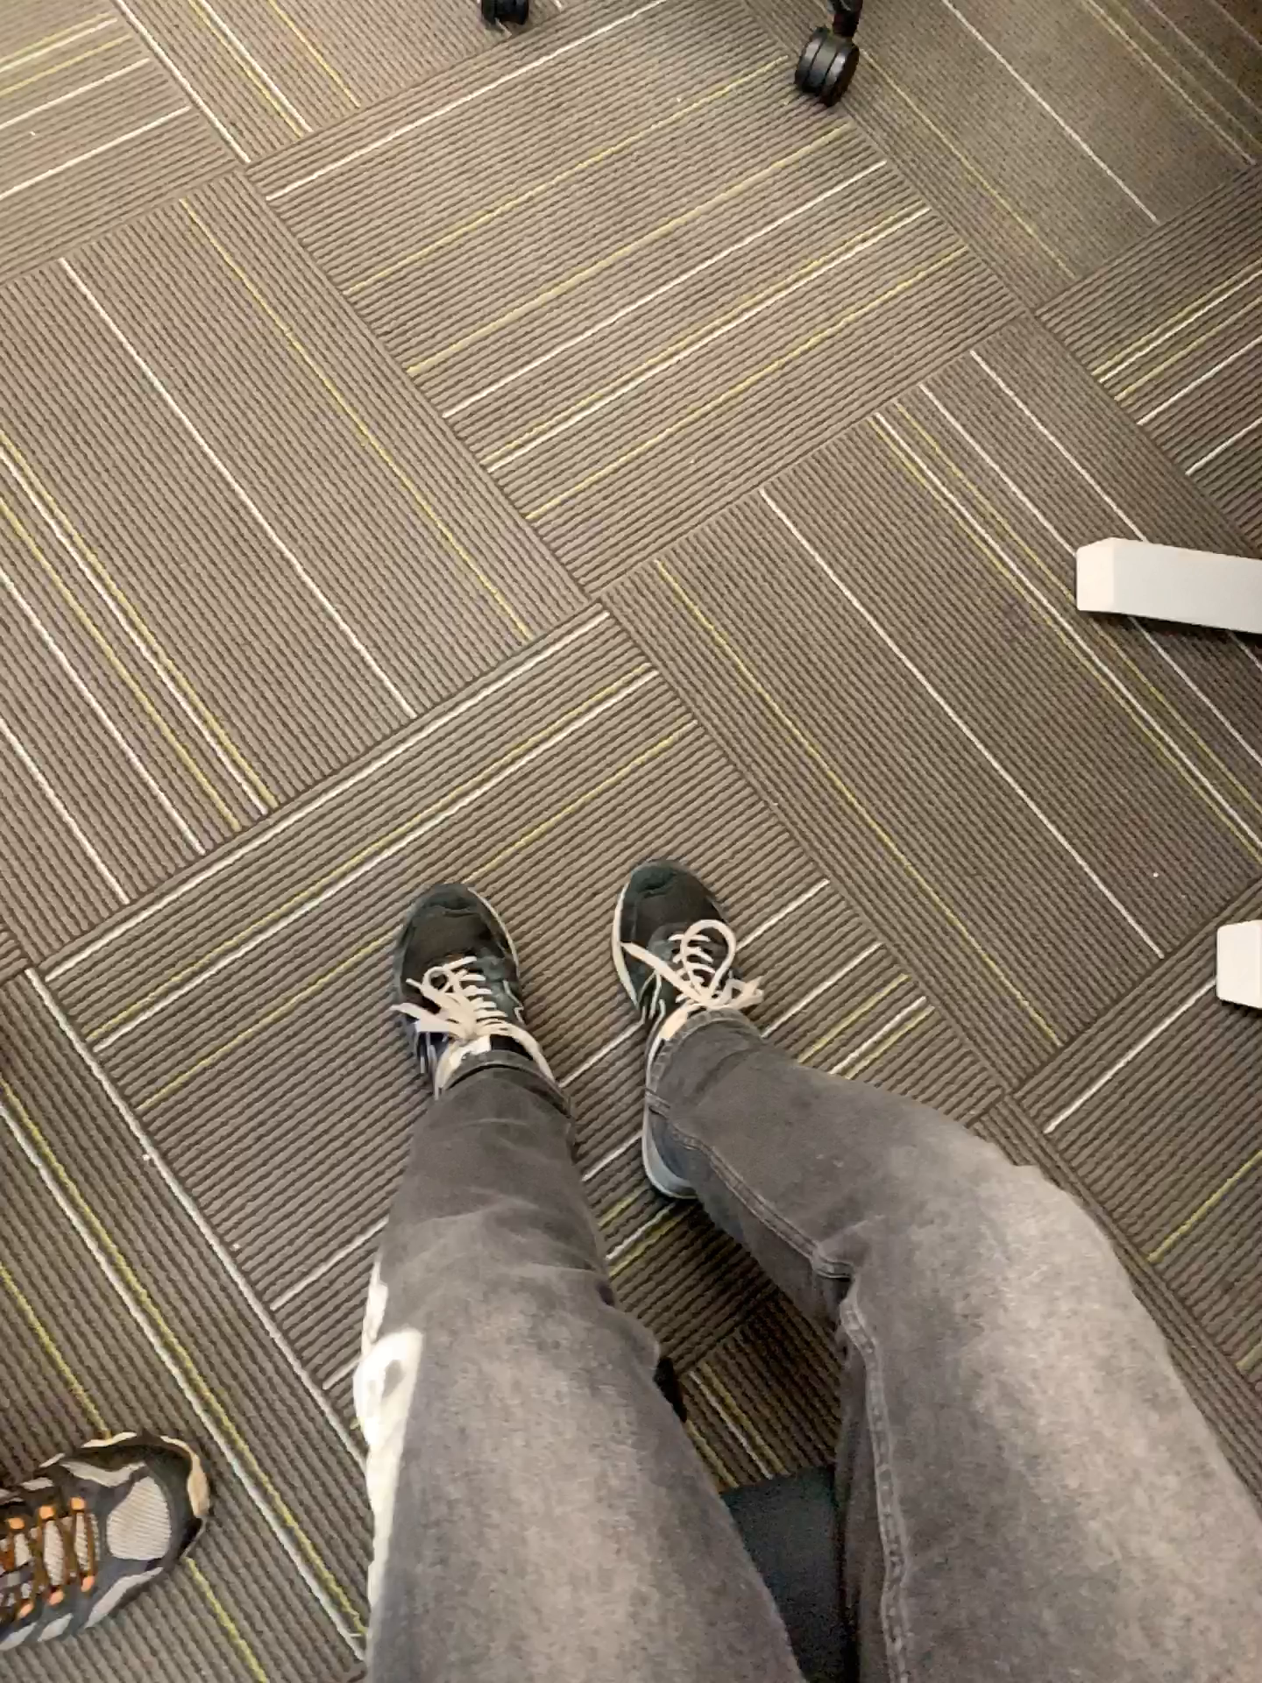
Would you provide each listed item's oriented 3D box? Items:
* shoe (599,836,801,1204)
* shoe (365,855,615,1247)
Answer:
[{"bbox_3d":[0.054,0.152,1.110,0.119,0.071,0.294,-6,74,-8],"label":"shoe"},{"bbox_3d":[-0.121,0.174,1.084,0.121,0.071,0.295,-17,76,-11],"label":"shoe"}]
